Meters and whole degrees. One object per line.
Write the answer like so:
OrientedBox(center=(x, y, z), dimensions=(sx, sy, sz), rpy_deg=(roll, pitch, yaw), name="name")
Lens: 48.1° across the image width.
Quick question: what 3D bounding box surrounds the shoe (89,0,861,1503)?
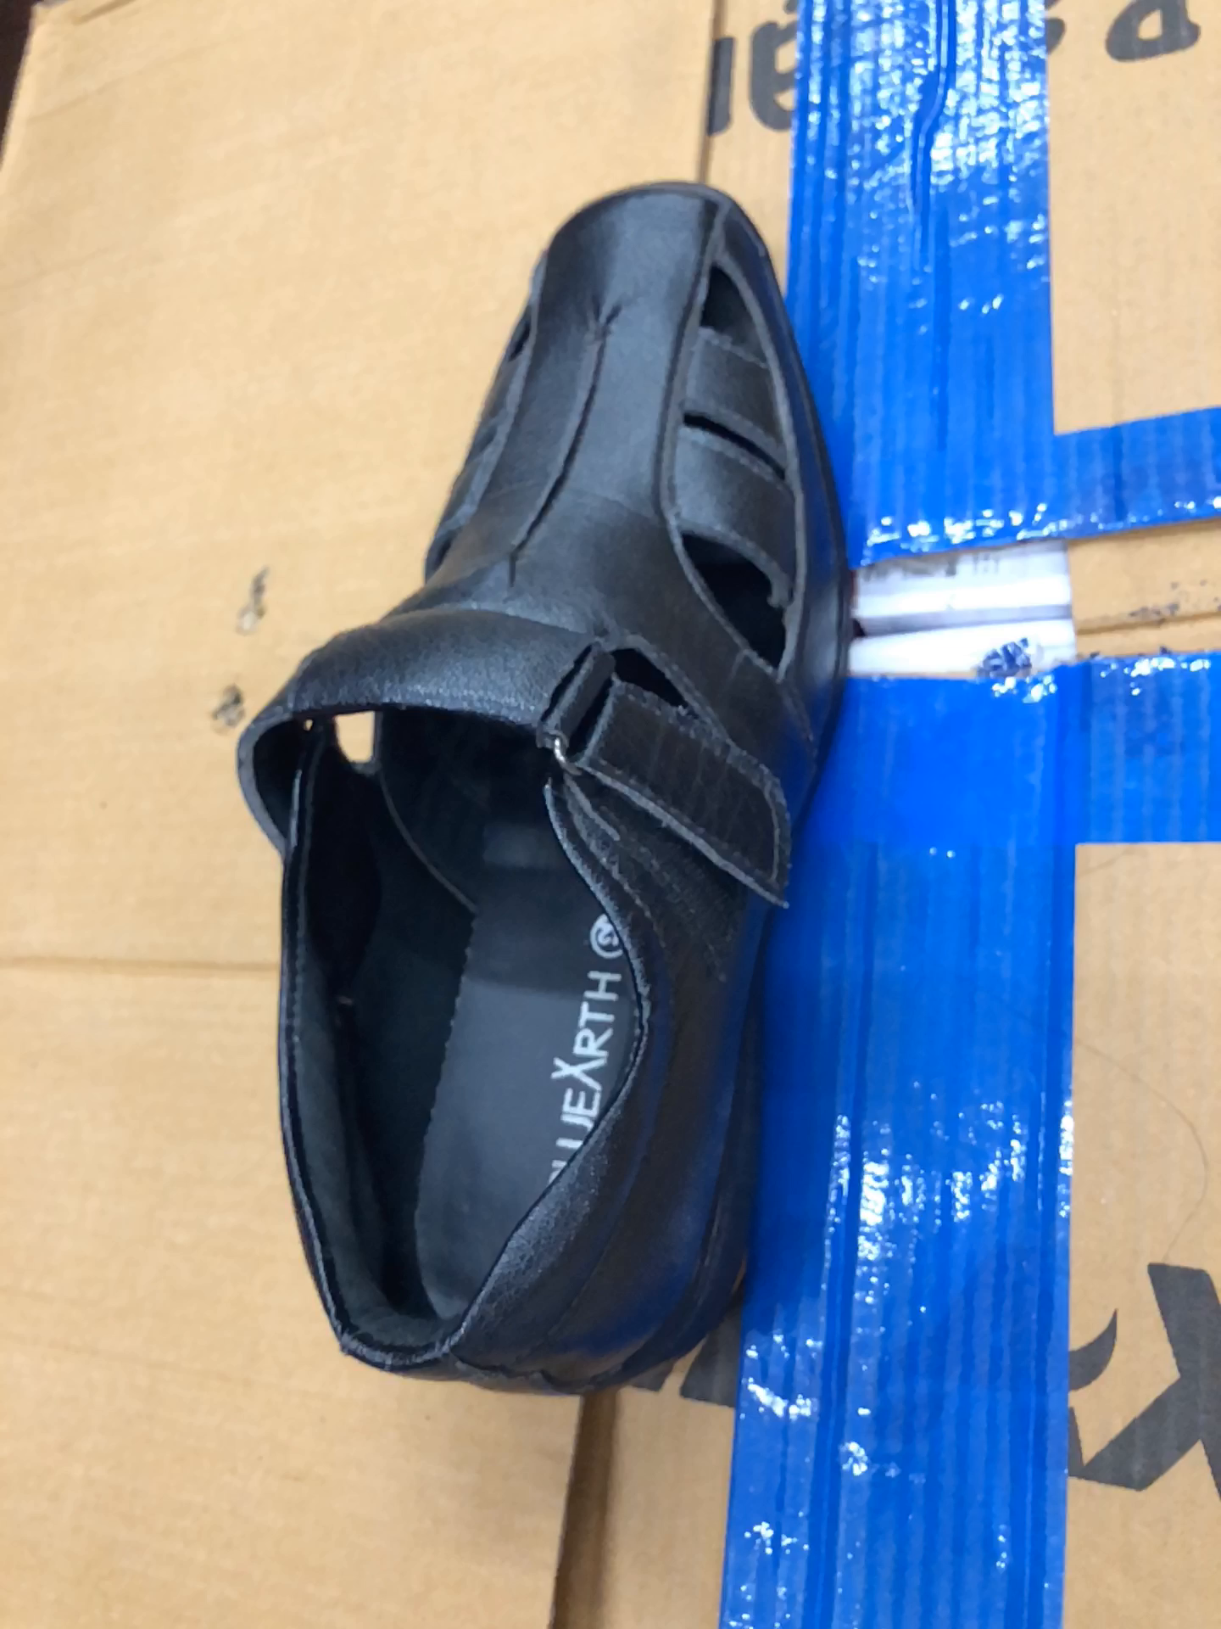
OrientedBox(center=(-0.011, -0.033, 0.293), dimensions=(0.100, 0.100, 0.300), rpy_deg=(-4, 72, 25), name="shoe")
